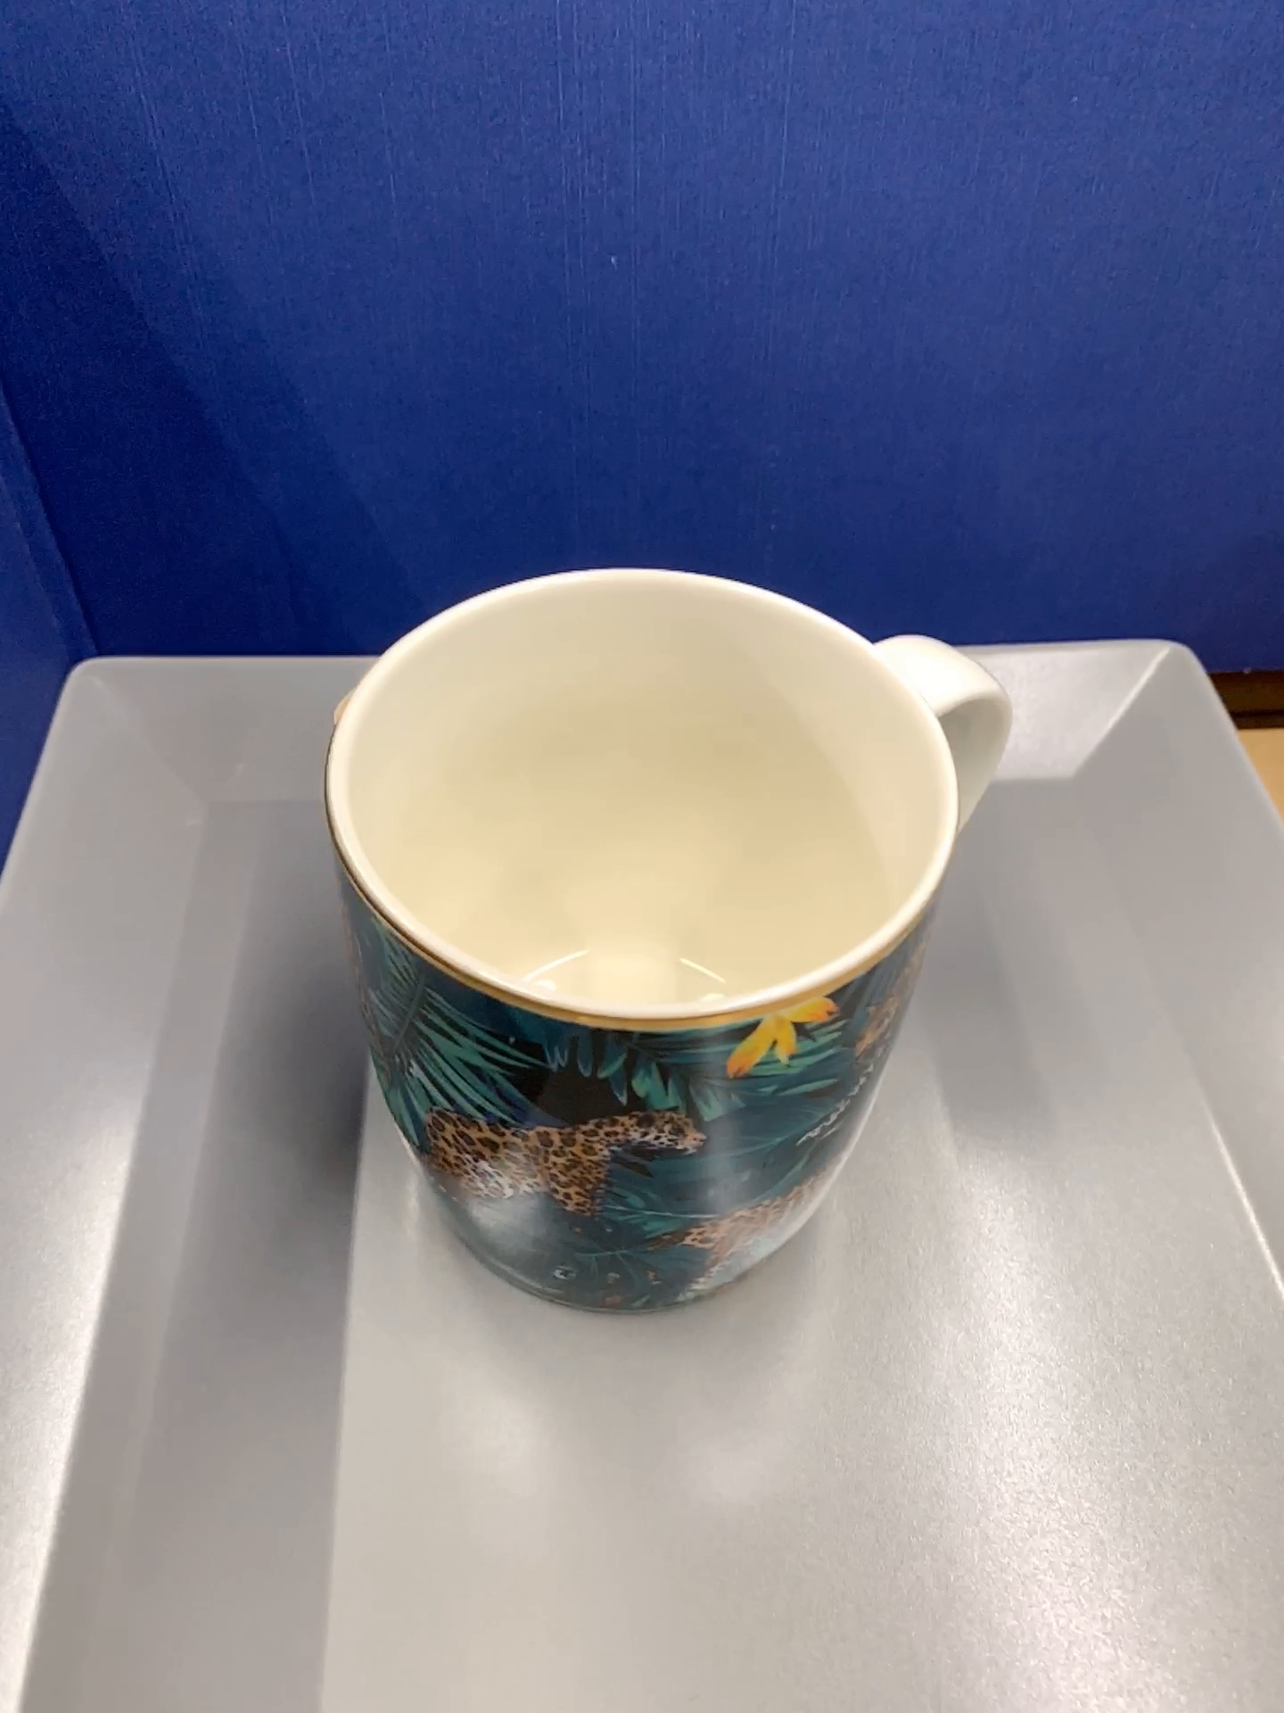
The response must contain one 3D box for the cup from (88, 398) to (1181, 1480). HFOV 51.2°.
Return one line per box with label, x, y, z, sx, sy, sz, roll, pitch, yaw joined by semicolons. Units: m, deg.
cup;0.003;0.004;0.220;0.093;0.091;0.126;33;53;28
